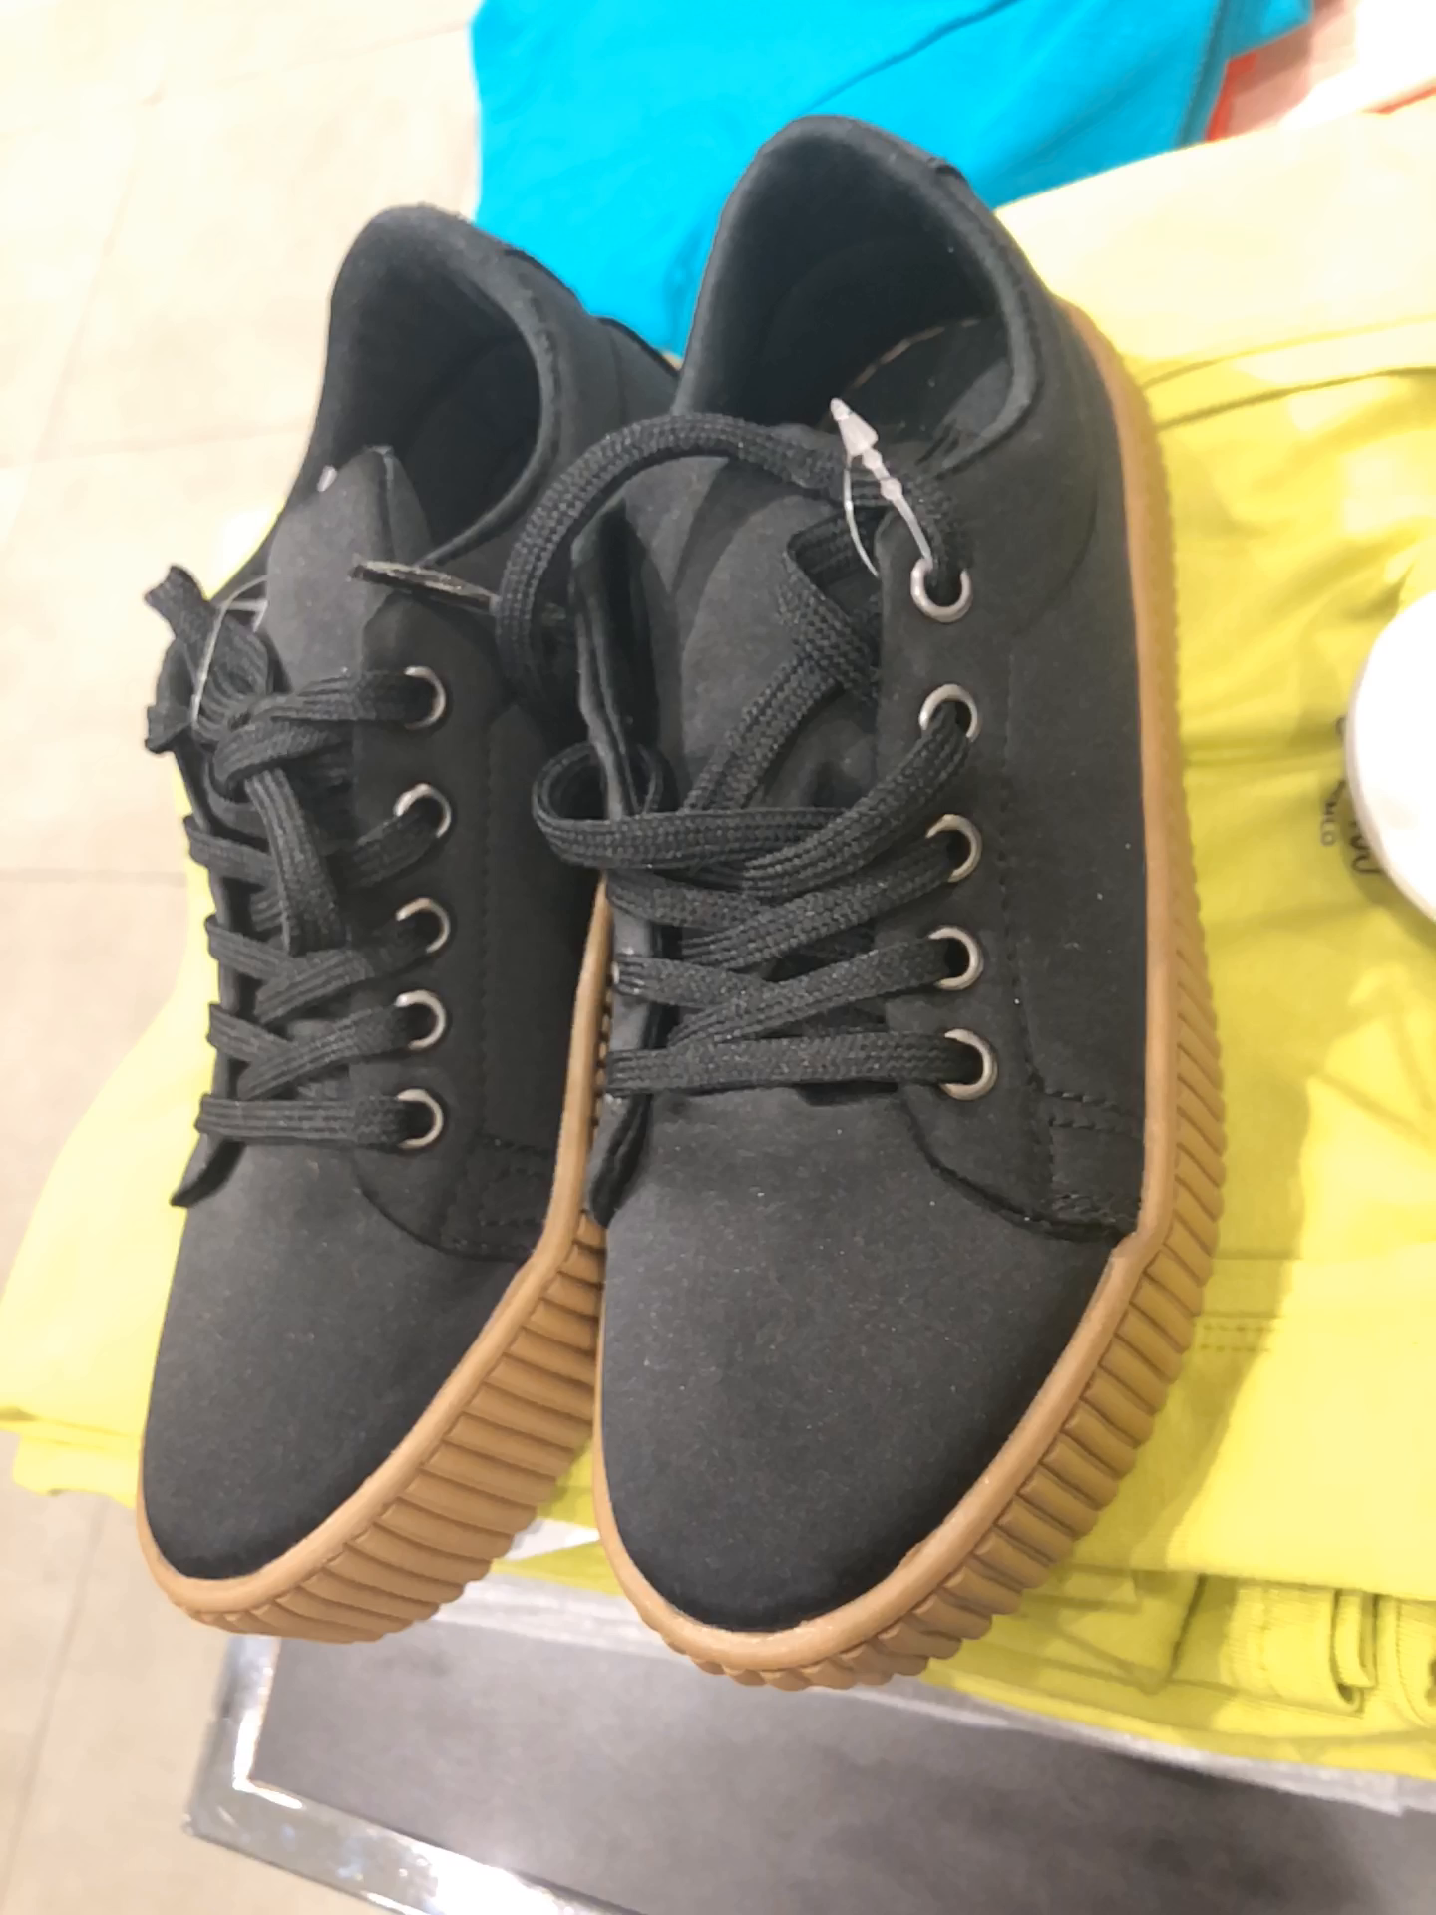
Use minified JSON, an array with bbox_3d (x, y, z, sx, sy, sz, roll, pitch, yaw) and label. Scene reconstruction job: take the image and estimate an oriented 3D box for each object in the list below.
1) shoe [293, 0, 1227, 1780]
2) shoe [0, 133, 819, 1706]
[{"bbox_3d":[0.020,-0.021,0.245,0.090,0.080,0.240,-2,71,28],"label":"shoe"},{"bbox_3d":[-0.058,-0.009,0.278,0.090,0.080,0.230,2,72,29],"label":"shoe"}]
